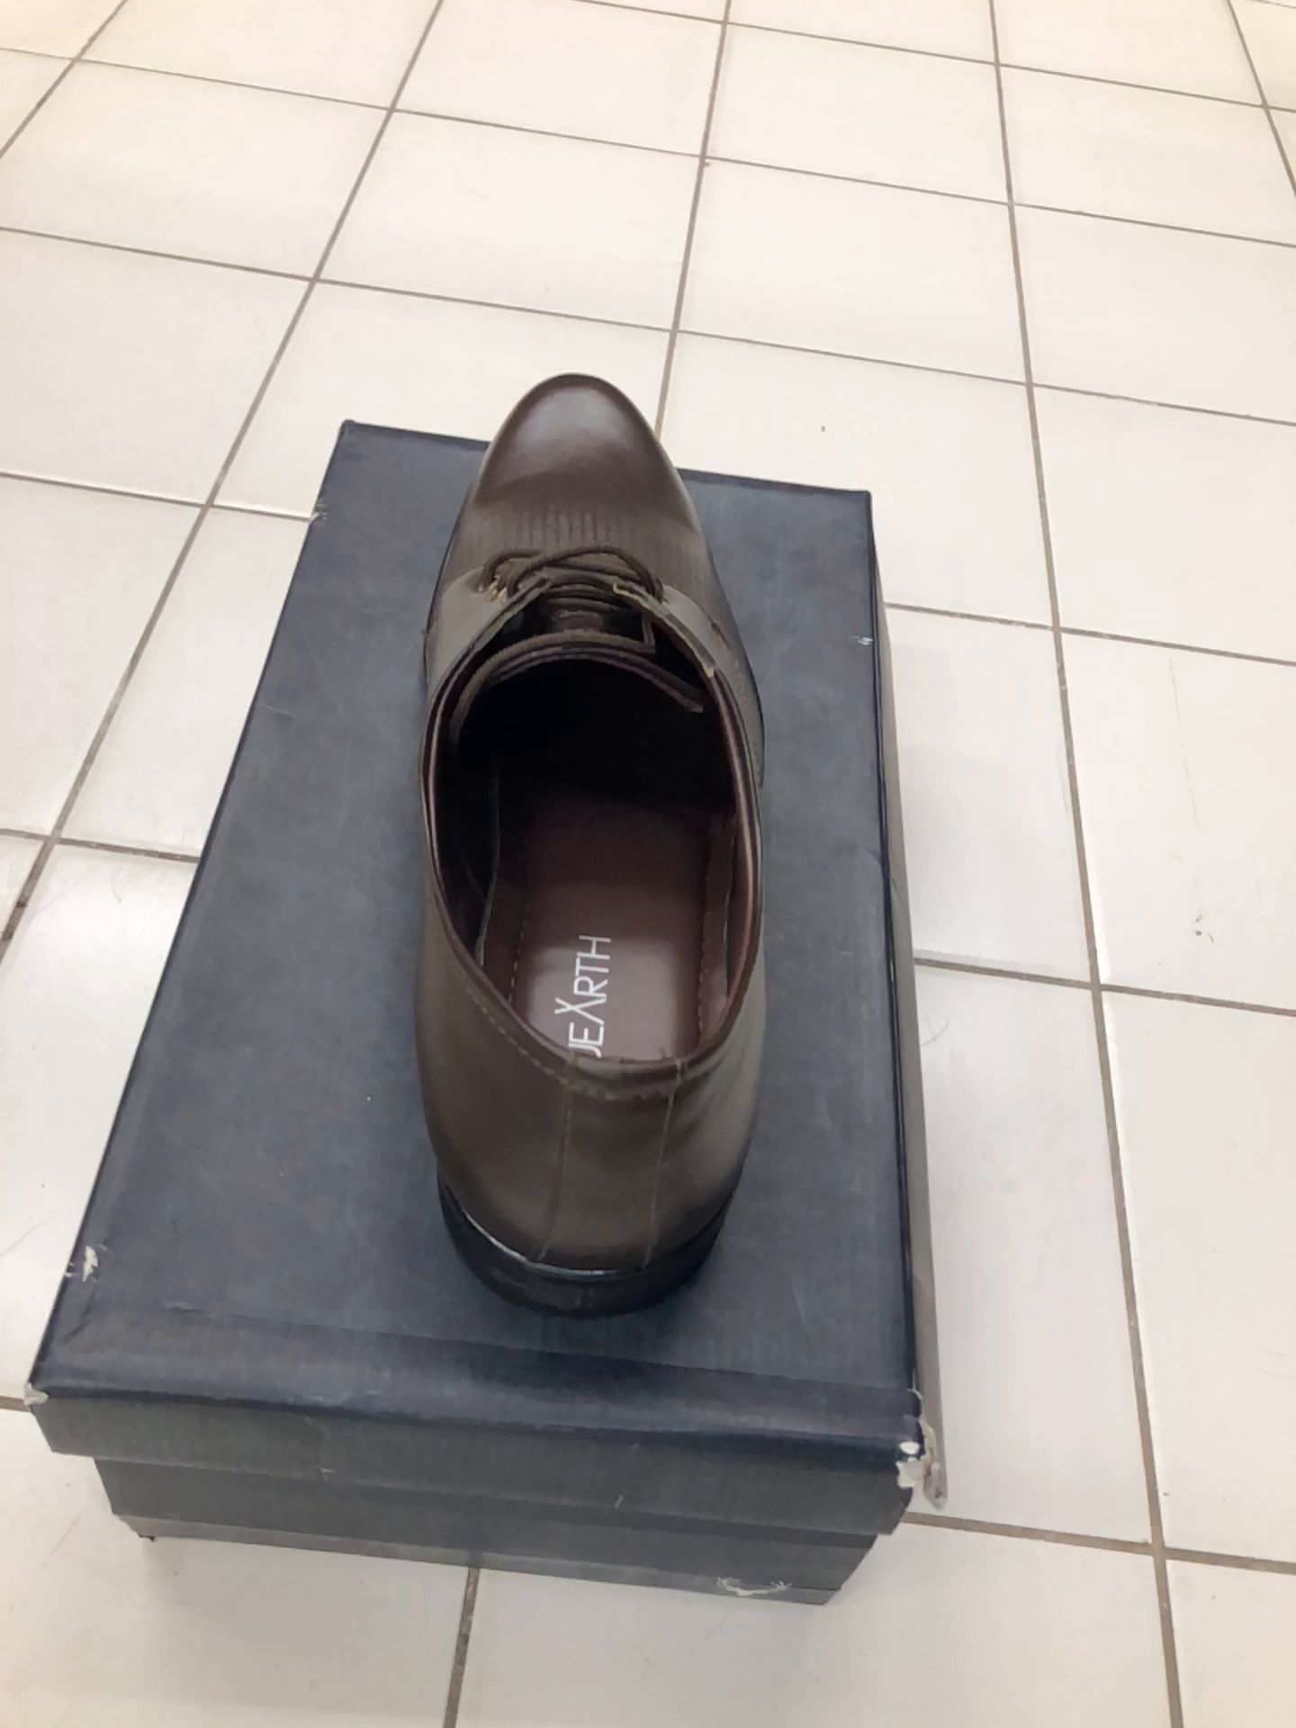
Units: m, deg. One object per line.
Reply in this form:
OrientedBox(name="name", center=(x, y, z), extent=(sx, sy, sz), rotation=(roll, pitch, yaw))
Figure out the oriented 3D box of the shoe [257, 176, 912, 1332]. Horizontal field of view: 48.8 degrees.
OrientedBox(name="shoe", center=(-0.013, -0.048, 0.371), extent=(0.110, 0.099, 0.302), rotation=(4, 53, -4))
